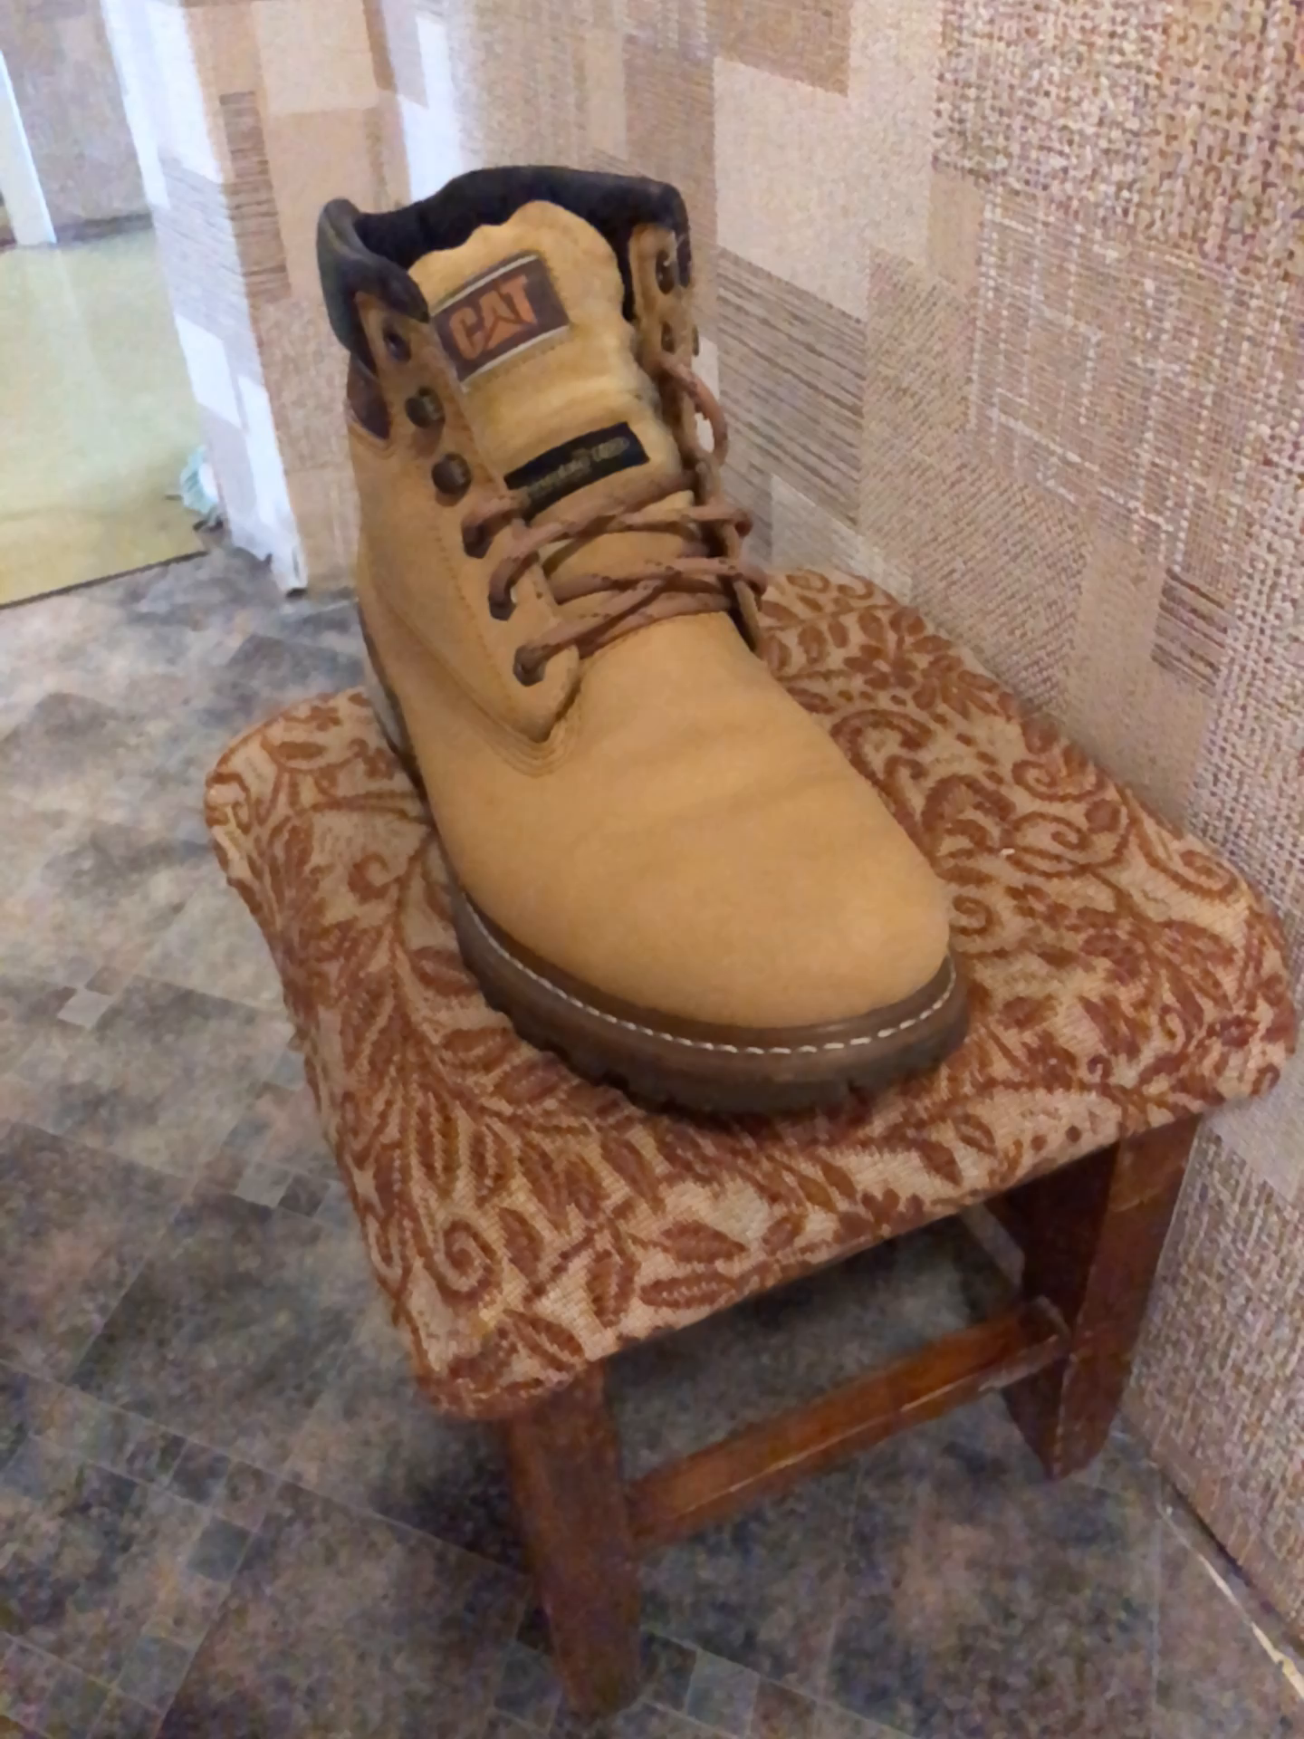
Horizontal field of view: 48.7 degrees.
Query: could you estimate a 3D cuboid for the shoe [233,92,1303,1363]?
[{"bbox_3d":[0.013,-0.071,0.396,0.140,0.189,0.311,-19,43,-20],"label":"shoe"}]
